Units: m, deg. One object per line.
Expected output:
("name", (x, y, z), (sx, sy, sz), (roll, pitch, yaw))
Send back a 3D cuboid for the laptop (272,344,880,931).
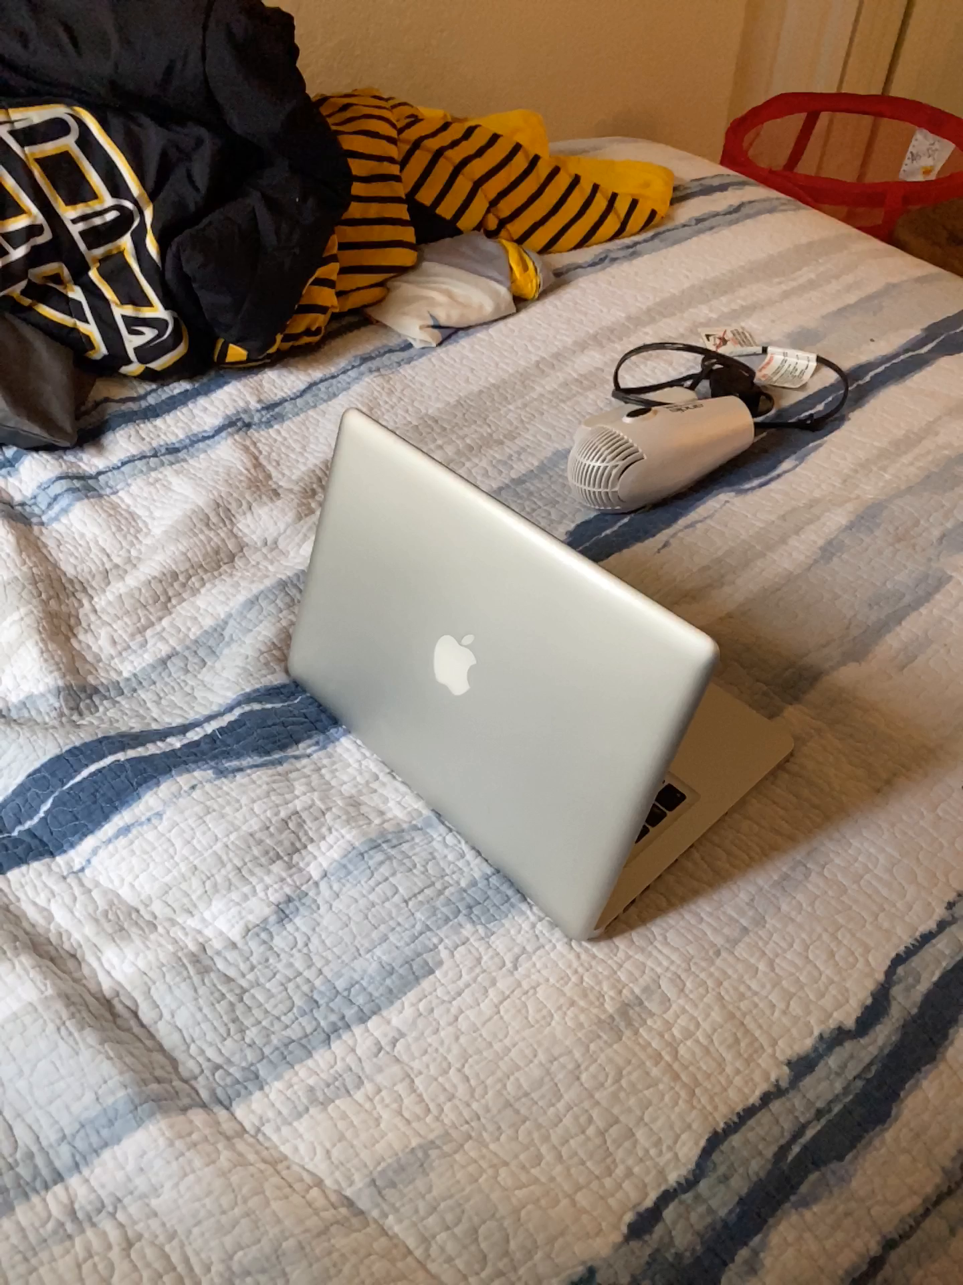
("laptop", (0.047, -0.021, 0.664), (0.215, 0.188, 0.301), (-33, 54, -27))
